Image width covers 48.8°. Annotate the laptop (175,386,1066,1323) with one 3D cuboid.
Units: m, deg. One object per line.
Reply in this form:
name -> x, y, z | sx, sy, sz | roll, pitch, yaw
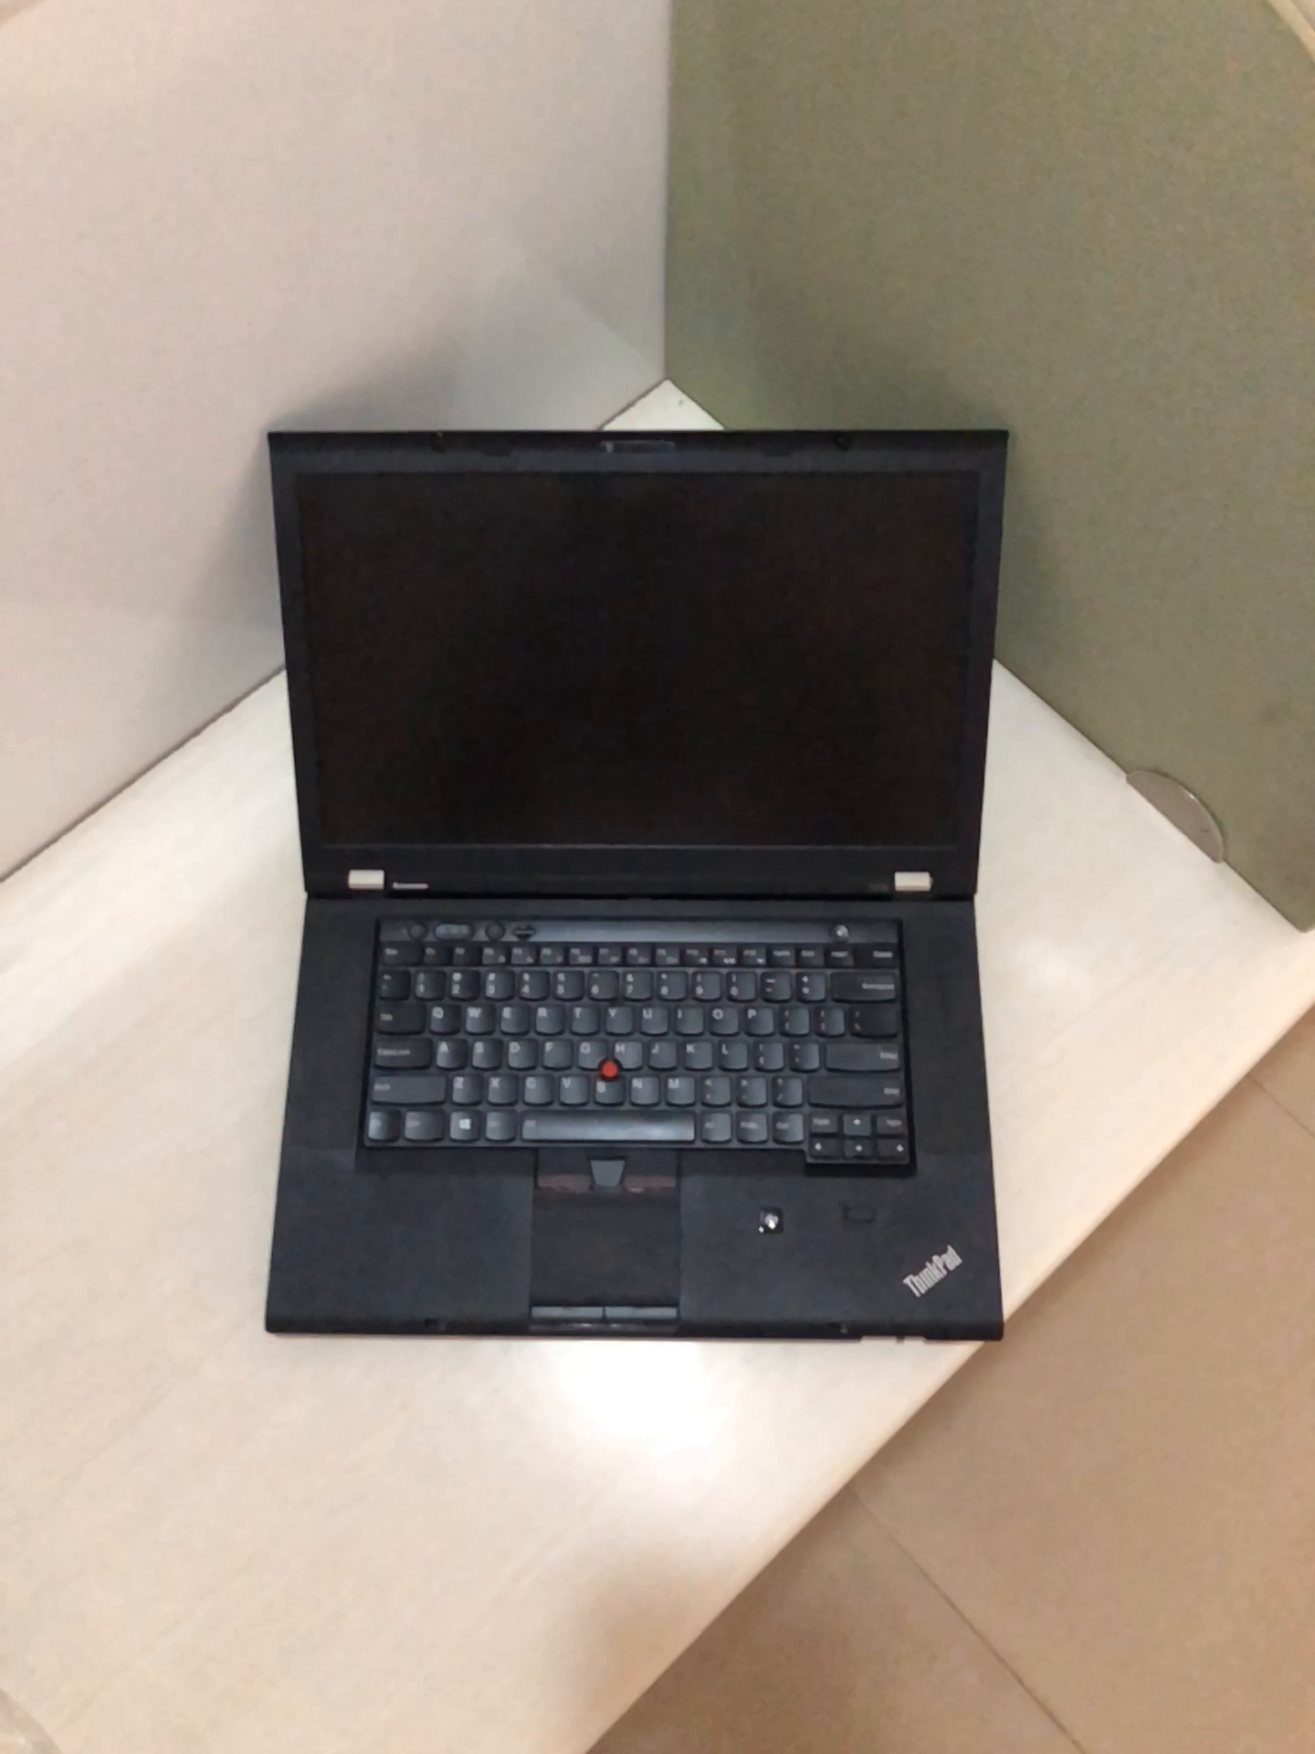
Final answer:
laptop -> -0.009, -0.008, 0.697 | 0.353, 0.142, 0.412 | 1, 73, 2
